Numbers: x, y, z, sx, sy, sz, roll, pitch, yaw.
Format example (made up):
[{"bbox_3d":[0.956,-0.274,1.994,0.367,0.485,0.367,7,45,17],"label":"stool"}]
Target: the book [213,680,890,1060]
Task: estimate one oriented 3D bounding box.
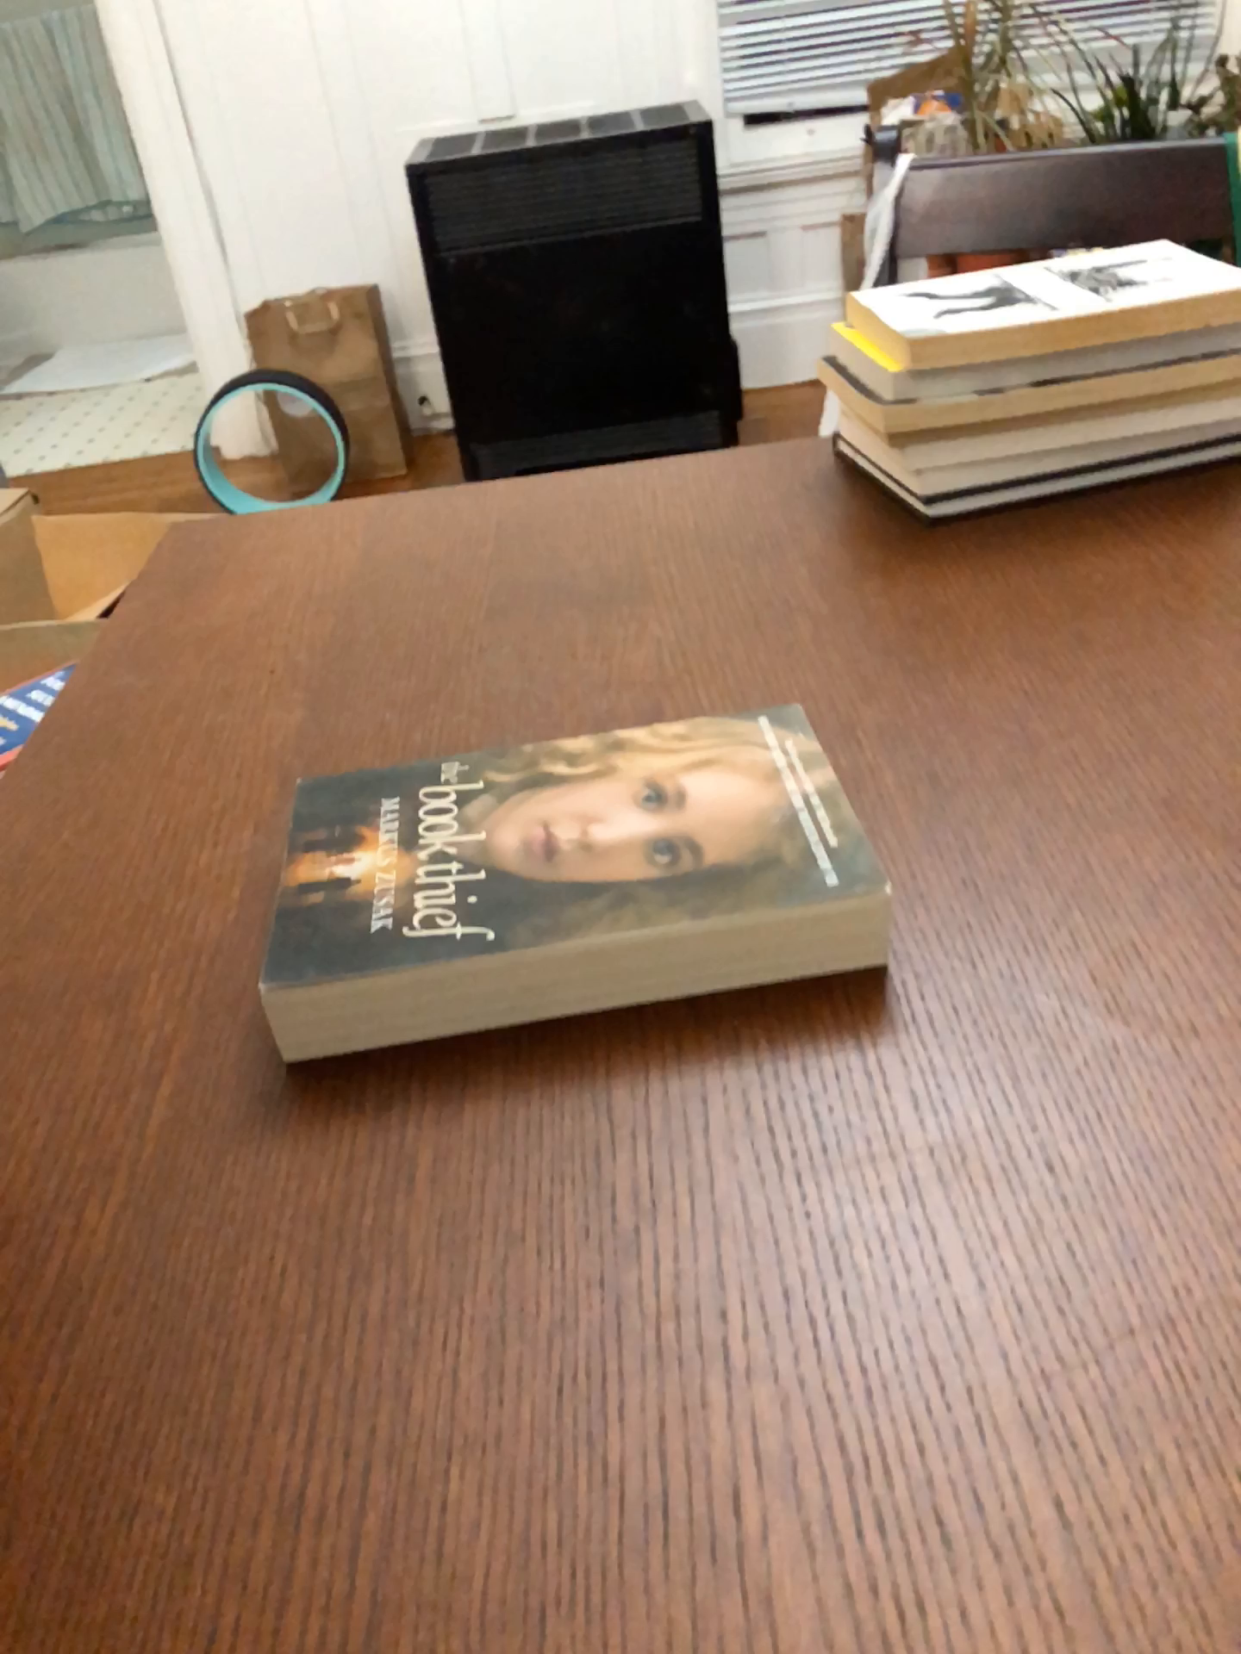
[{"bbox_3d":[-0.028,0.008,0.511,0.220,0.030,0.151,-9,32,-1],"label":"book"}]
